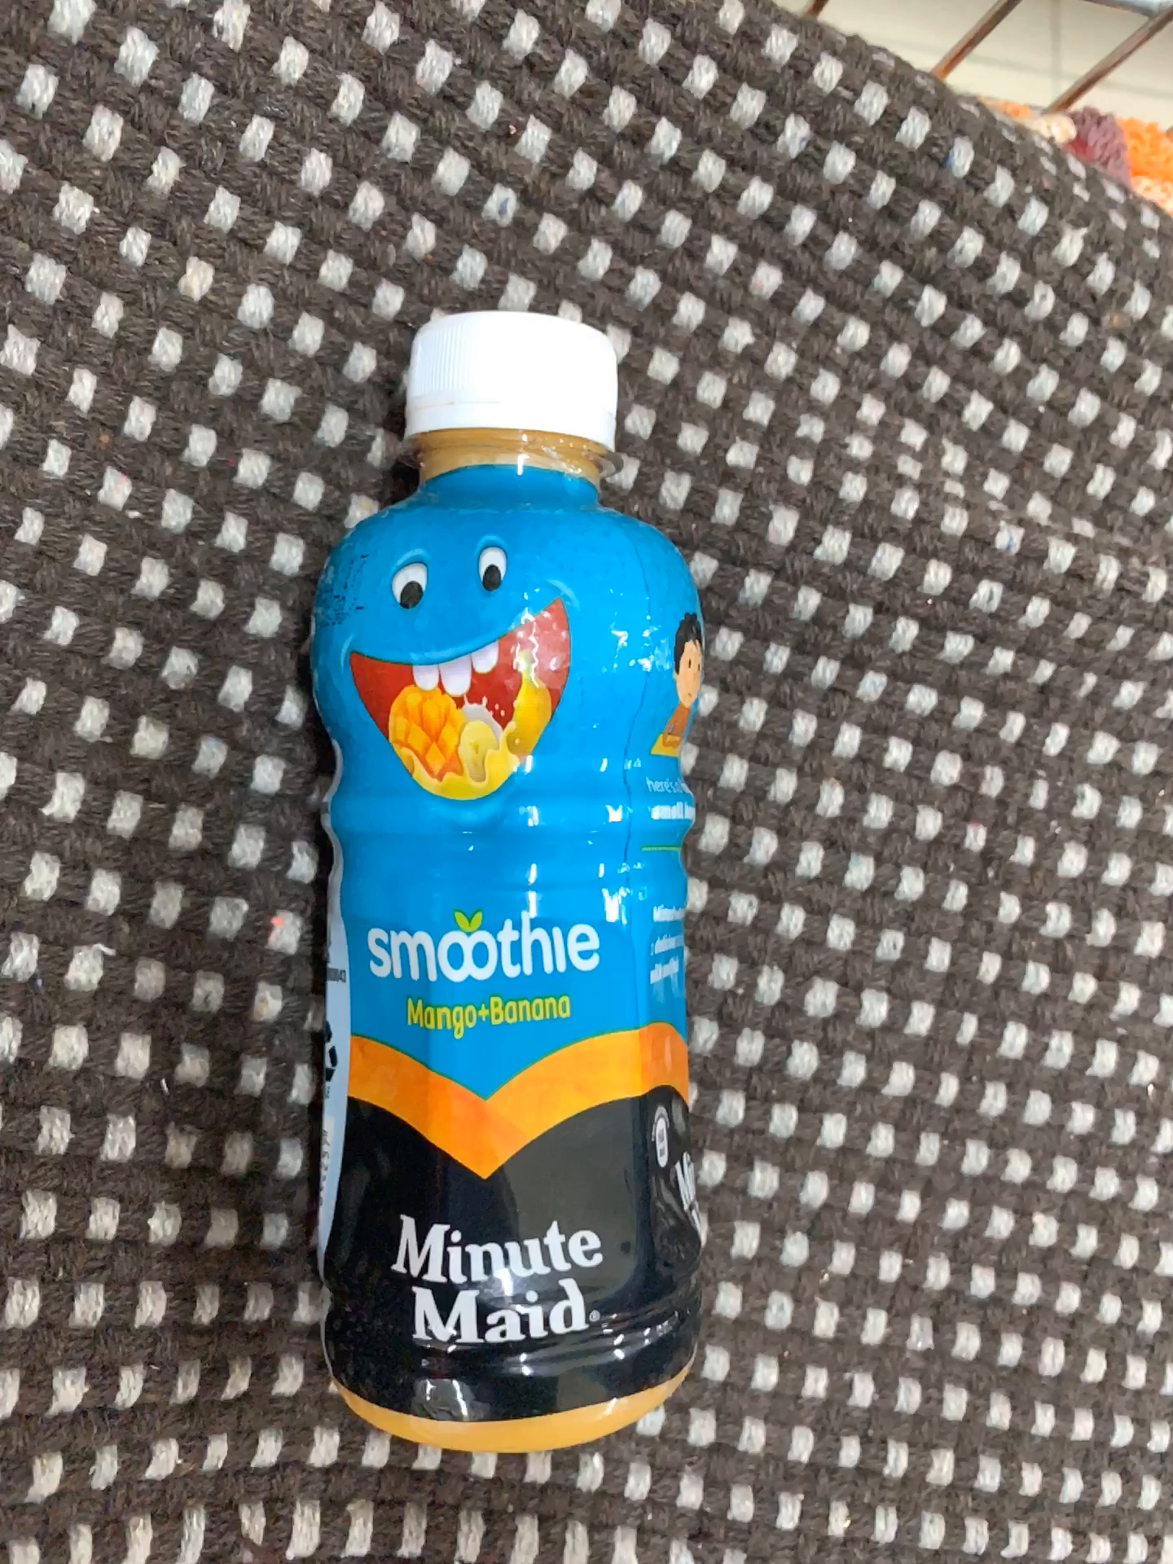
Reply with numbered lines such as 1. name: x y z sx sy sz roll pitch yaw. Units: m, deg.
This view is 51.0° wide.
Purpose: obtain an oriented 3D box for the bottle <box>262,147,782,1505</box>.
1. bottle: -0.010 0.005 0.174 0.060 0.040 0.160 -2 92 -20
